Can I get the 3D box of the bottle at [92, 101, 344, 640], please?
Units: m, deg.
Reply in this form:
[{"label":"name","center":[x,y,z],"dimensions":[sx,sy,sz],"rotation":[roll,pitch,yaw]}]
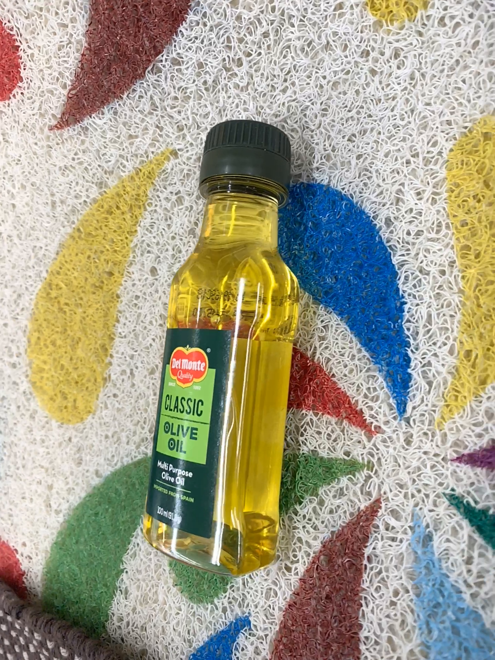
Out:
[{"label":"bottle","center":[-0.008,0.009,0.155],"dimensions":[0.050,0.040,0.130],"rotation":[5,90,32]}]
